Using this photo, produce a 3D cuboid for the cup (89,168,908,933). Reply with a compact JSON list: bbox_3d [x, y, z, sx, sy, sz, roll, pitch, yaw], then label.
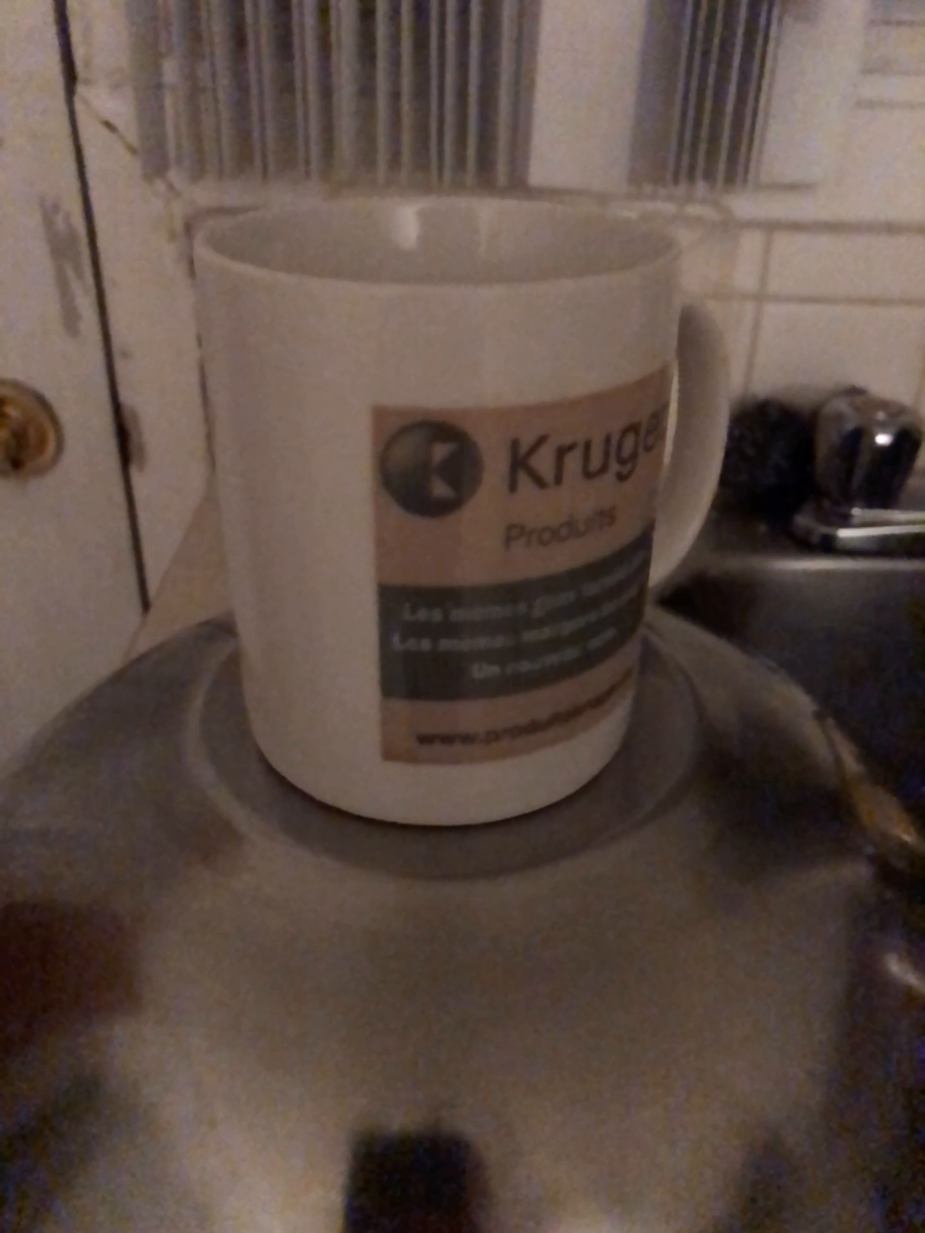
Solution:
[{"bbox_3d":[0.003,-0.026,0.216,0.120,0.109,0.091,-15,34,-27],"label":"cup"}]
